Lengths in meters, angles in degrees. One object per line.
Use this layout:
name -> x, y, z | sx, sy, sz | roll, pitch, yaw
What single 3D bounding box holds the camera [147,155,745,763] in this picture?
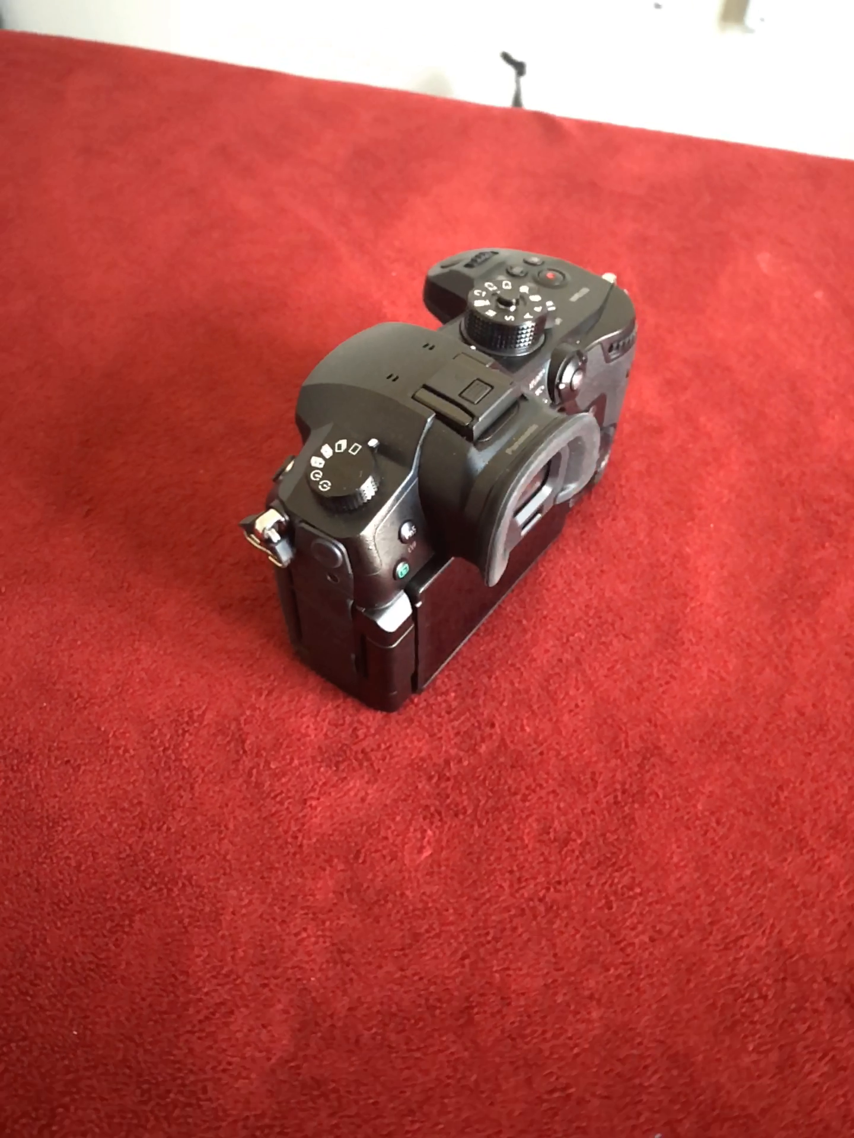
camera -> 0.011, -0.039, 0.287 | 0.086, 0.087, 0.148 | 32, 59, 22
